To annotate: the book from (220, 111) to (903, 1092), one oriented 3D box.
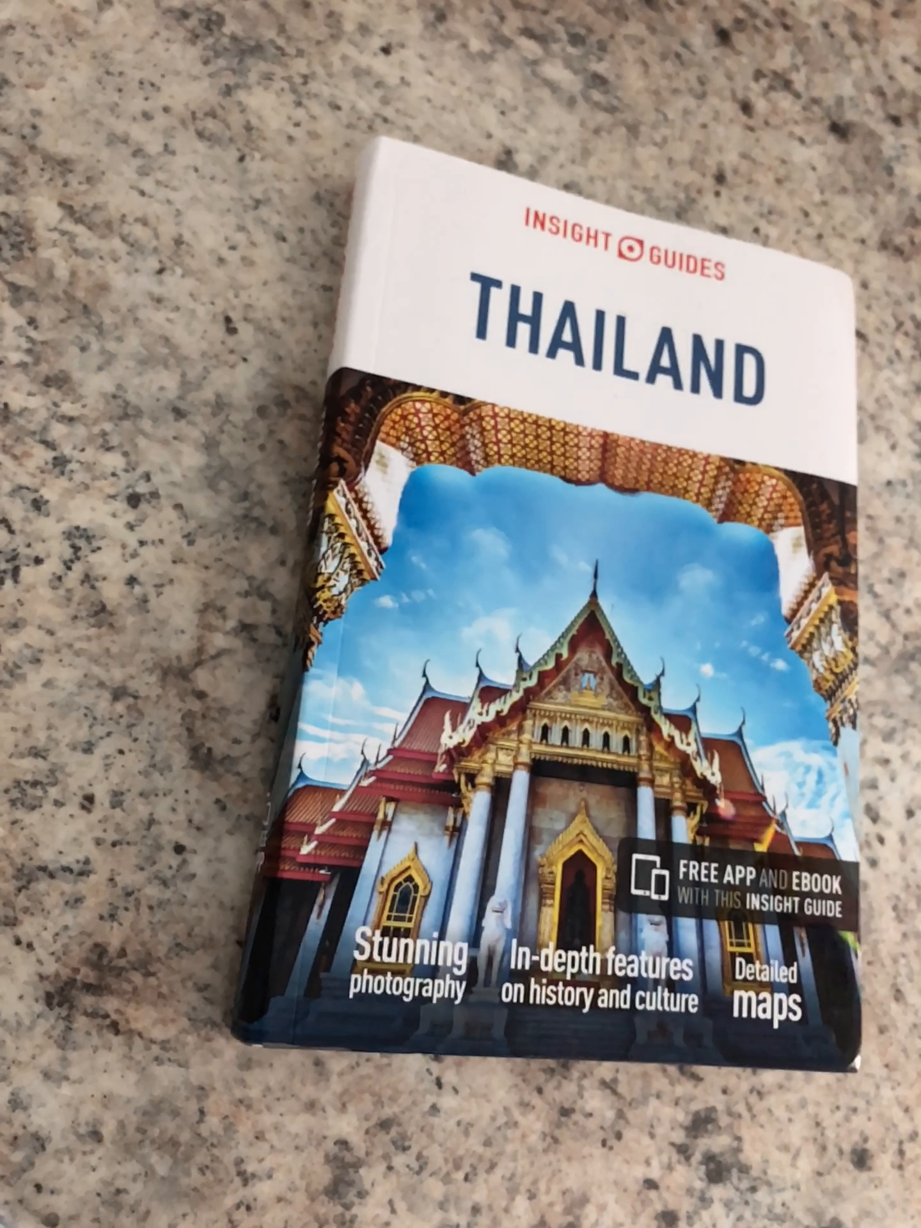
[{"bbox_3d":[0.038,-0.007,0.284,0.164,0.030,0.240,11,71,-15],"label":"book"}]
